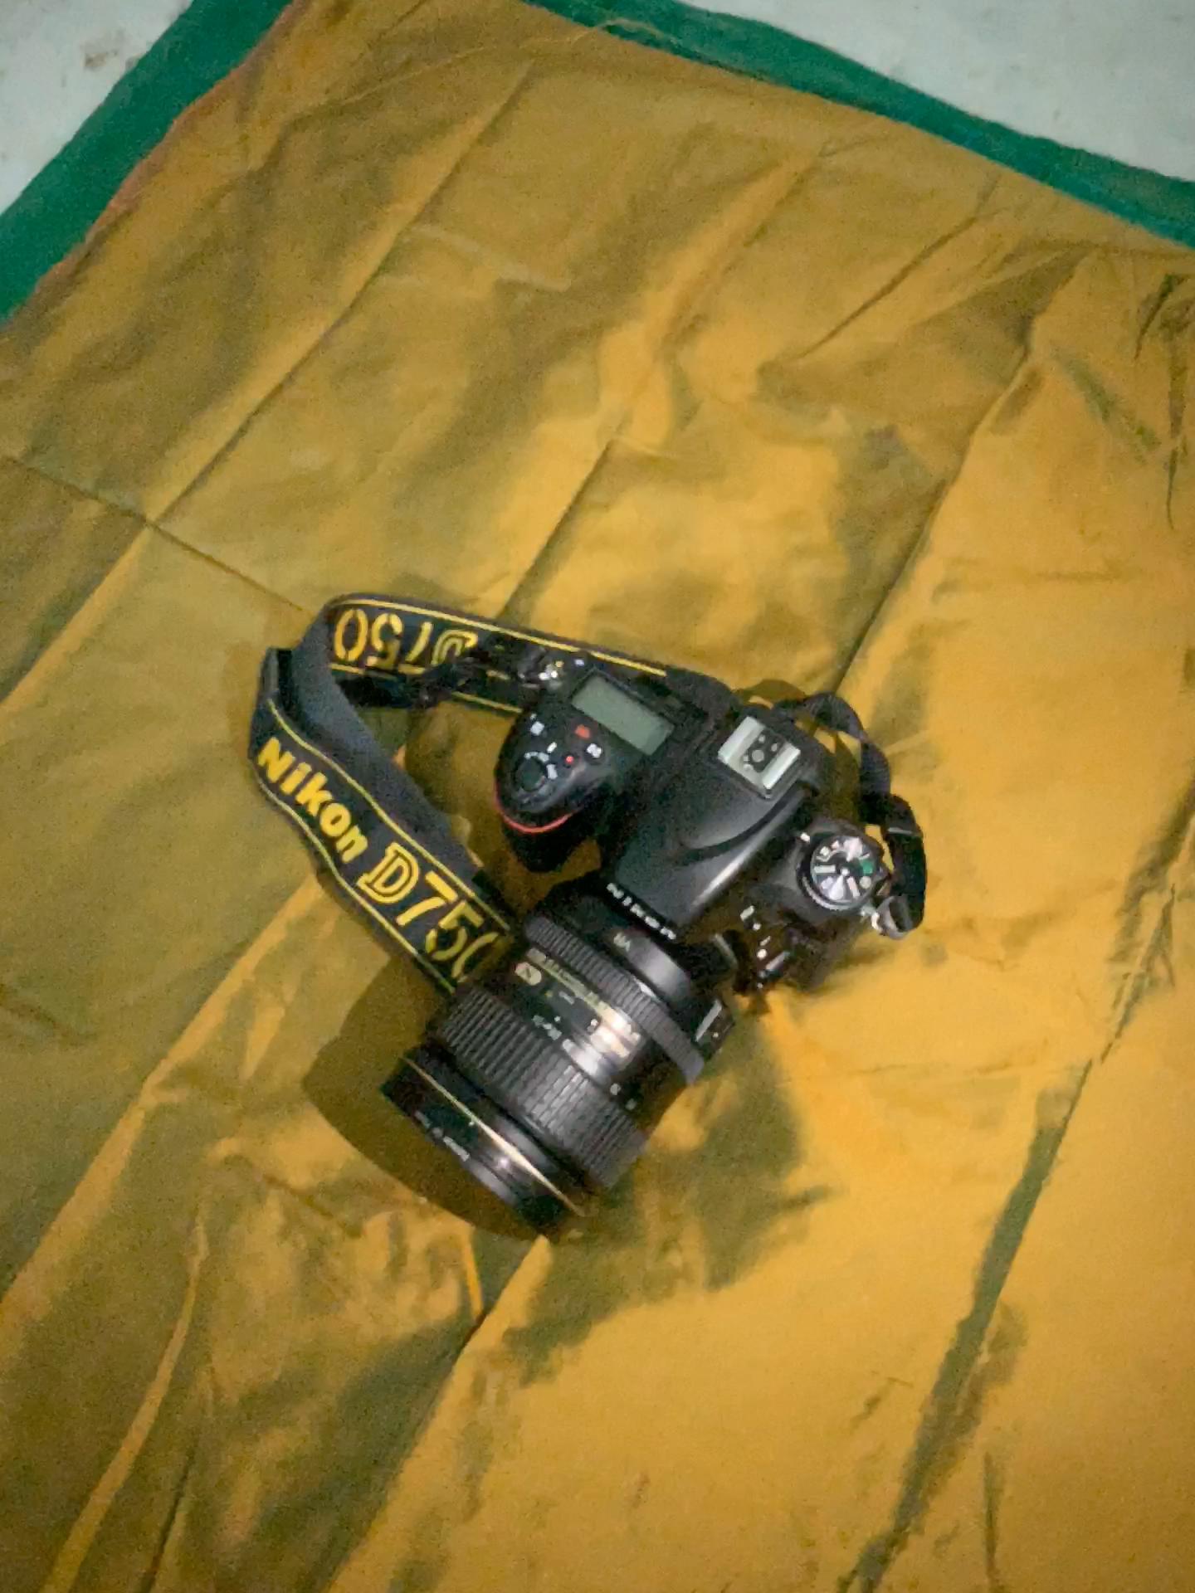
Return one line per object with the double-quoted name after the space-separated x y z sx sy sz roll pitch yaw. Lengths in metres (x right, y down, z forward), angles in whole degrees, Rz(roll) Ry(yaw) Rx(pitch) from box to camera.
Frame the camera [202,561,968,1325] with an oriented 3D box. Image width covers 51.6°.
0.000 0.050 0.426 0.150 0.101 0.190 35 73 15 "camera"
